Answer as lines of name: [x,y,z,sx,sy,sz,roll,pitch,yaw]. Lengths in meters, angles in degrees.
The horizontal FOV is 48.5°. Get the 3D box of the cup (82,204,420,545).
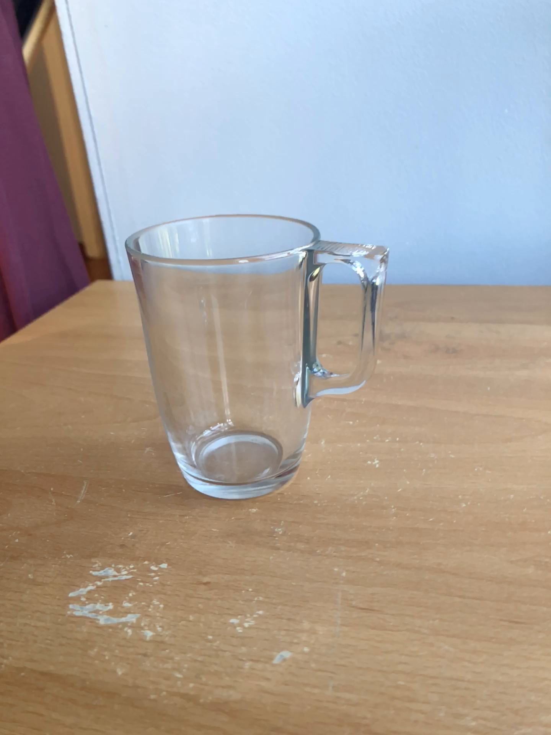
cup: [-0.004,-0.007,0.253,0.103,0.103,0.078,9,28,29]
